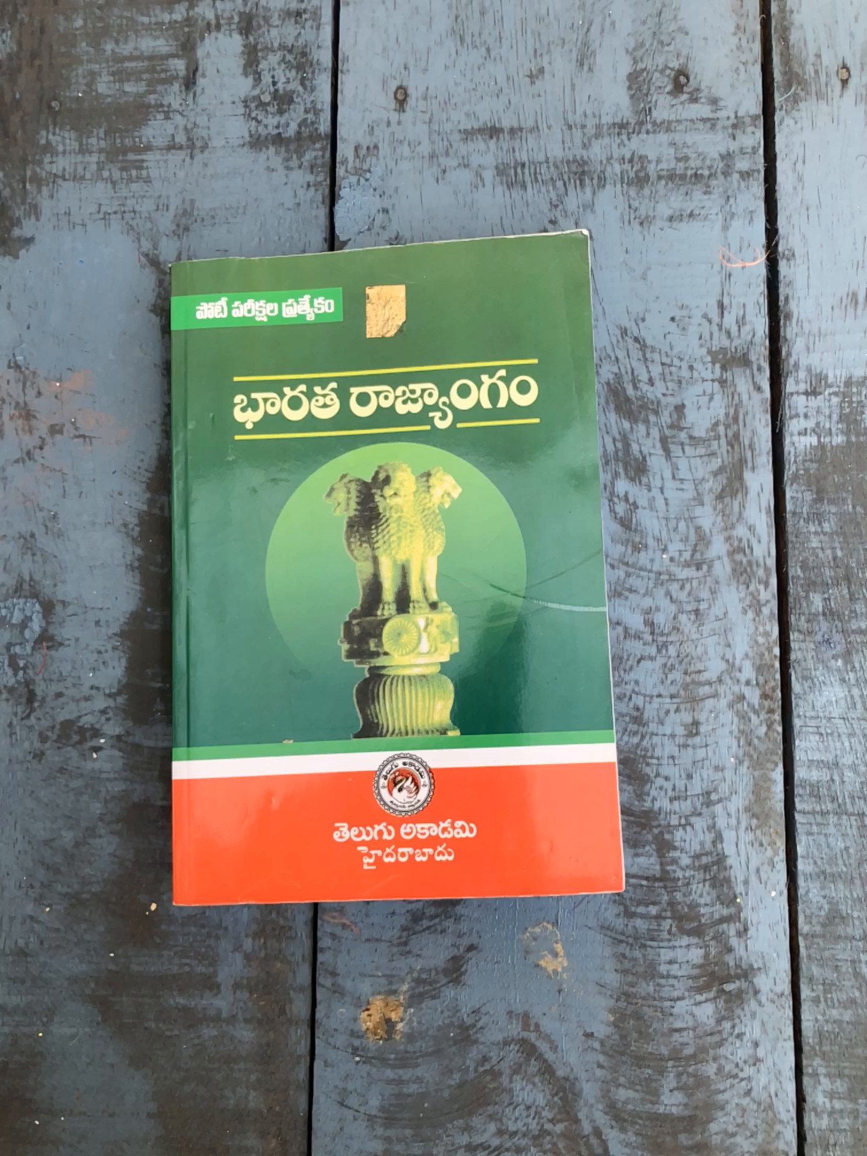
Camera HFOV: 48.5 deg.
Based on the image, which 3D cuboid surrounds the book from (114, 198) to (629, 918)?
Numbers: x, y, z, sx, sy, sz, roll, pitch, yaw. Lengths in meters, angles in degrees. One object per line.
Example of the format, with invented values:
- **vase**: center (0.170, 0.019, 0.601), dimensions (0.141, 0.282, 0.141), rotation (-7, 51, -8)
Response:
- **book**: center (-0.023, -0.008, 0.333), dimensions (0.160, 0.040, 0.230), rotation (-3, 82, 3)
